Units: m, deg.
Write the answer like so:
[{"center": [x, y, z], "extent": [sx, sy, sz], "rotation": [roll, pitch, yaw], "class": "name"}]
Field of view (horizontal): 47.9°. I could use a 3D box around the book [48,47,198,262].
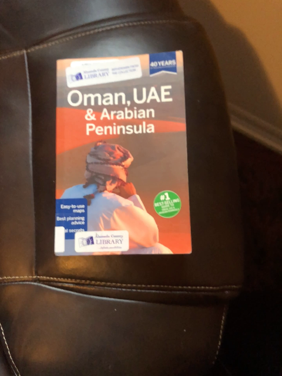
[{"center": [-0.019, -0.033, 0.318], "extent": [0.137, 0.030, 0.203], "rotation": [-2, 84, 2], "class": "book"}]
